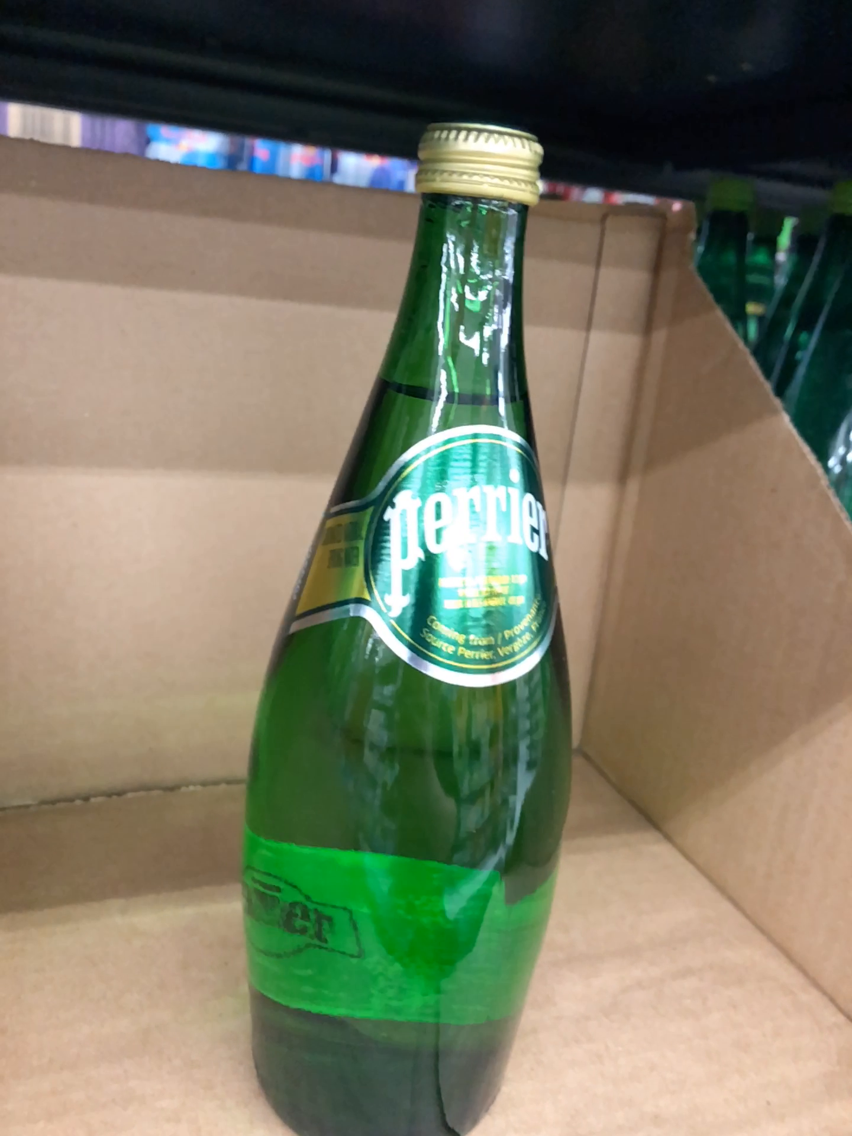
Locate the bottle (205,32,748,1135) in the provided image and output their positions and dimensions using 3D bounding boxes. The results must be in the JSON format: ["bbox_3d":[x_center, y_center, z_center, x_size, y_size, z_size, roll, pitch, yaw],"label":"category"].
[{"bbox_3d":[-0.003,0.022,0.254,0.090,0.269,0.080,0,18,-21],"label":"bottle"}]

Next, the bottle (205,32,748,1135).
[{"bbox_3d":[-0.003,0.022,0.254,0.090,0.269,0.080,0,18,-21],"label":"bottle"}]
